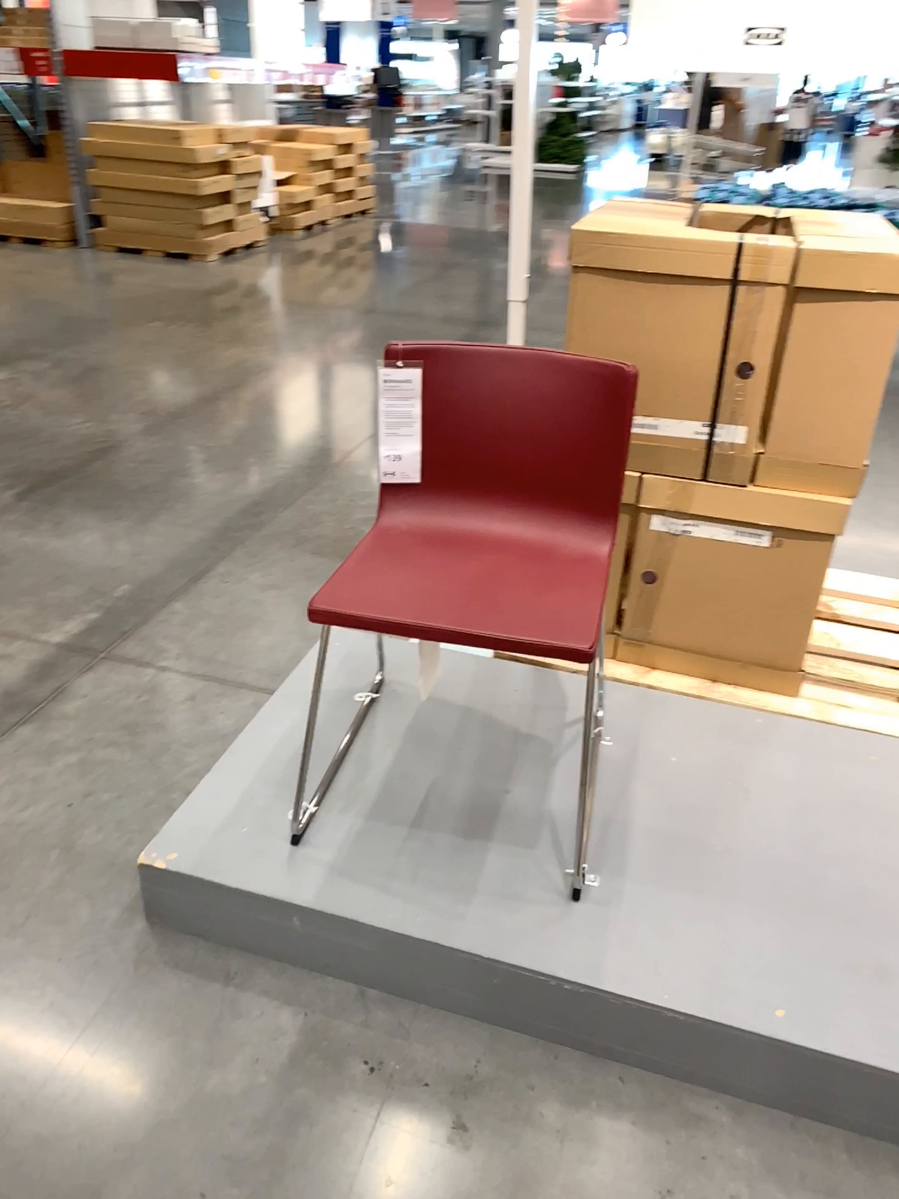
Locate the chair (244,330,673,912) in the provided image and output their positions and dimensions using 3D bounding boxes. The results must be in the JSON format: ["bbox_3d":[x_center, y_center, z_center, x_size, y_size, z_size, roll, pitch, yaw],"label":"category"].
[{"bbox_3d":[0.044,0.001,1.534,0.530,0.726,0.553,8,30,10],"label":"chair"}]
